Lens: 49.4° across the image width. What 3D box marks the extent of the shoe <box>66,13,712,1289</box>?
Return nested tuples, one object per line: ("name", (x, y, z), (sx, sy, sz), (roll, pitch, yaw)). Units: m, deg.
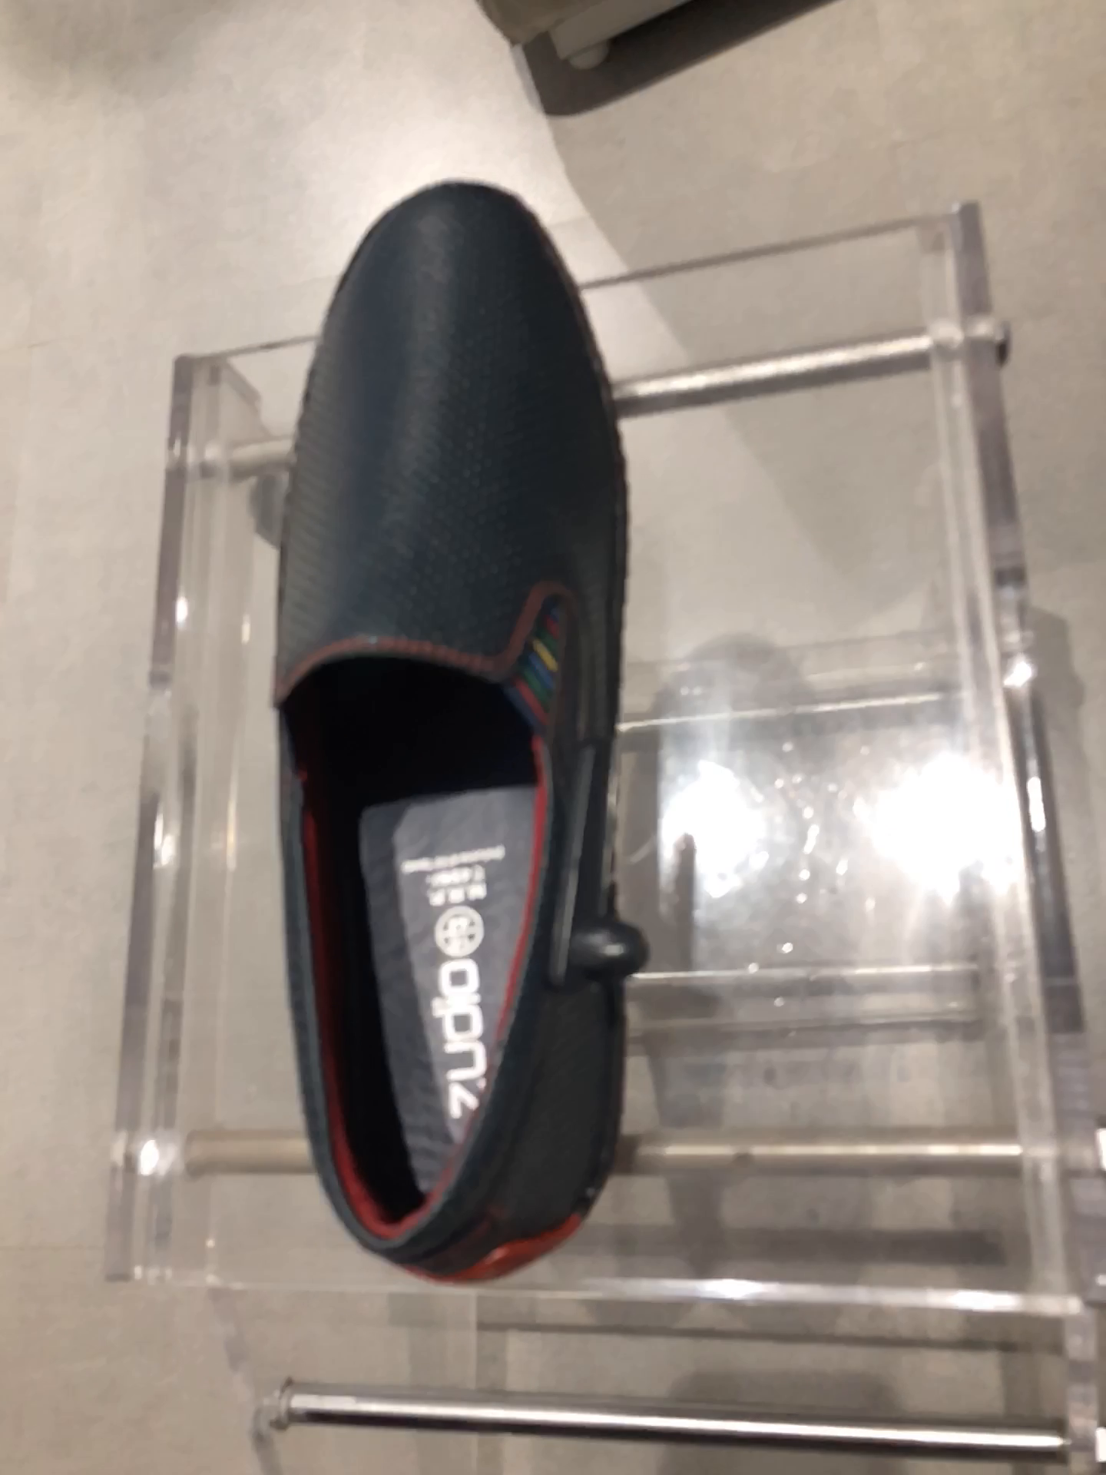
("shoe", (-0.036, -0.019, 0.301), (0.110, 0.100, 0.270), (-8, 74, 15))
